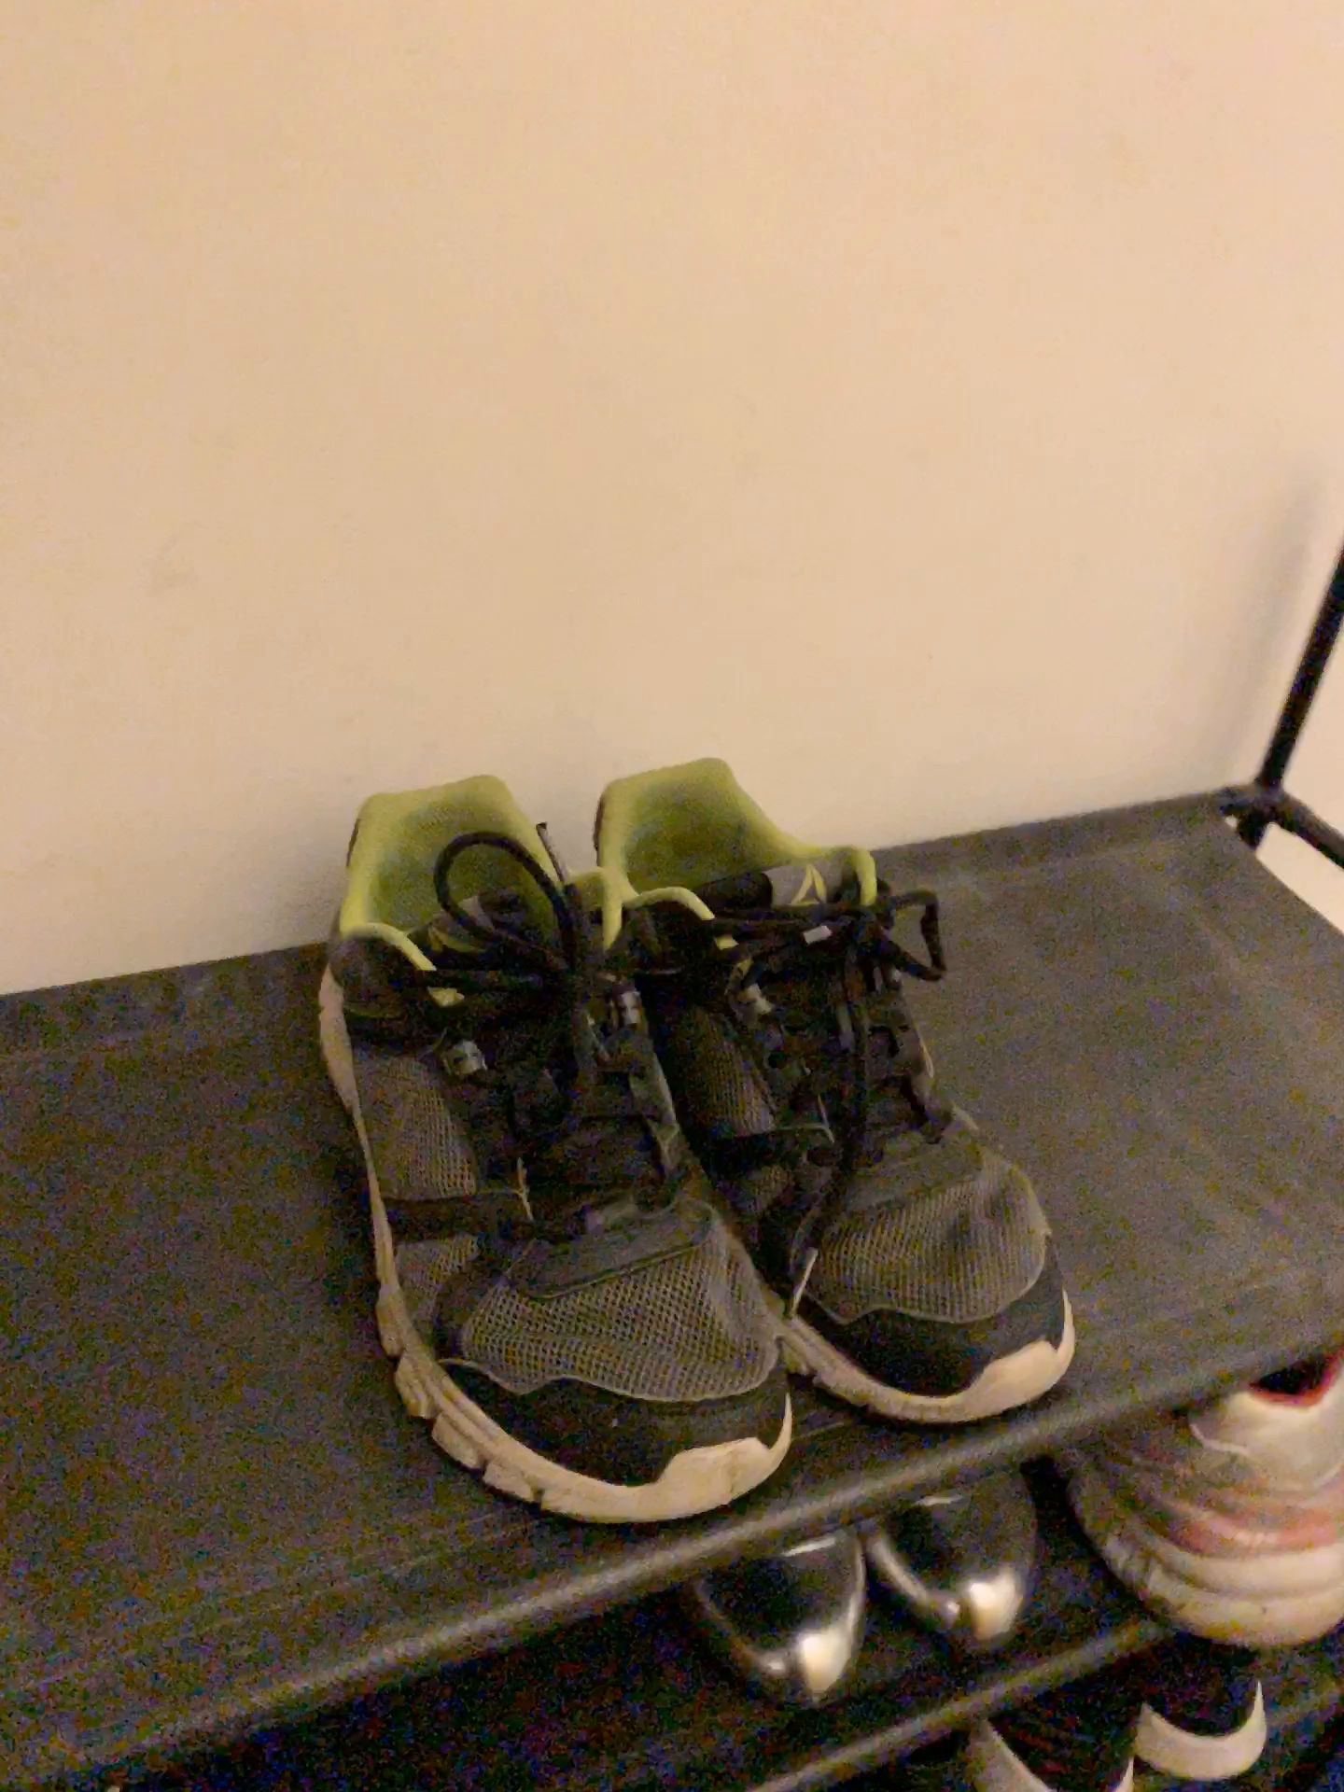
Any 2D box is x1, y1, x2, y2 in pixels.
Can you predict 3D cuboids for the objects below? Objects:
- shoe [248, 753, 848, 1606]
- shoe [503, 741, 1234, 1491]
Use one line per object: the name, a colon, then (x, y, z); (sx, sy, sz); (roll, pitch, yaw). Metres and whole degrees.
shoe: (-0.057, 0.063, 0.437); (0.100, 0.099, 0.252); (-10, 37, -22)
shoe: (0.041, 0.046, 0.459); (0.110, 0.069, 0.262); (-11, 37, -23)
